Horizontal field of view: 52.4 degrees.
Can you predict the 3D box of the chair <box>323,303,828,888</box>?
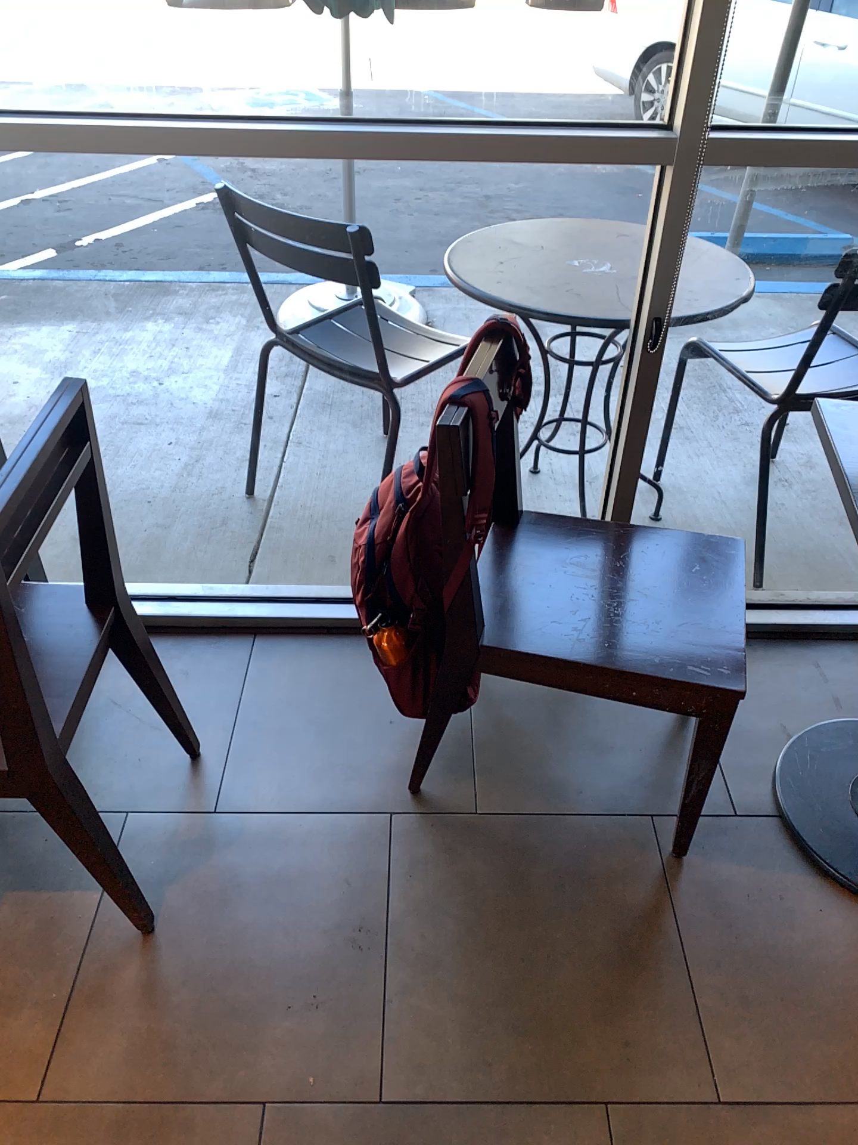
[{"bbox_3d":[0.270,0.027,1.810,0.740,0.855,0.693,10,39,10],"label":"chair"}]
